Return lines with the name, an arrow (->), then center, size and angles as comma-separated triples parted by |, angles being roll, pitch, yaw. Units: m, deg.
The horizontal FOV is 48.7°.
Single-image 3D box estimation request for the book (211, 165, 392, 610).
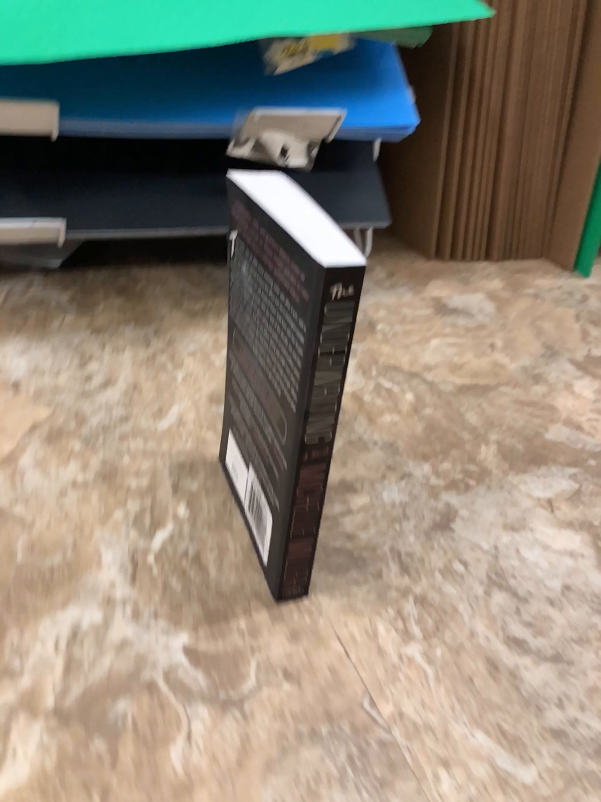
book -> -0.014, -0.009, 0.373 | 0.035, 0.203, 0.141 | -5, 34, -20
